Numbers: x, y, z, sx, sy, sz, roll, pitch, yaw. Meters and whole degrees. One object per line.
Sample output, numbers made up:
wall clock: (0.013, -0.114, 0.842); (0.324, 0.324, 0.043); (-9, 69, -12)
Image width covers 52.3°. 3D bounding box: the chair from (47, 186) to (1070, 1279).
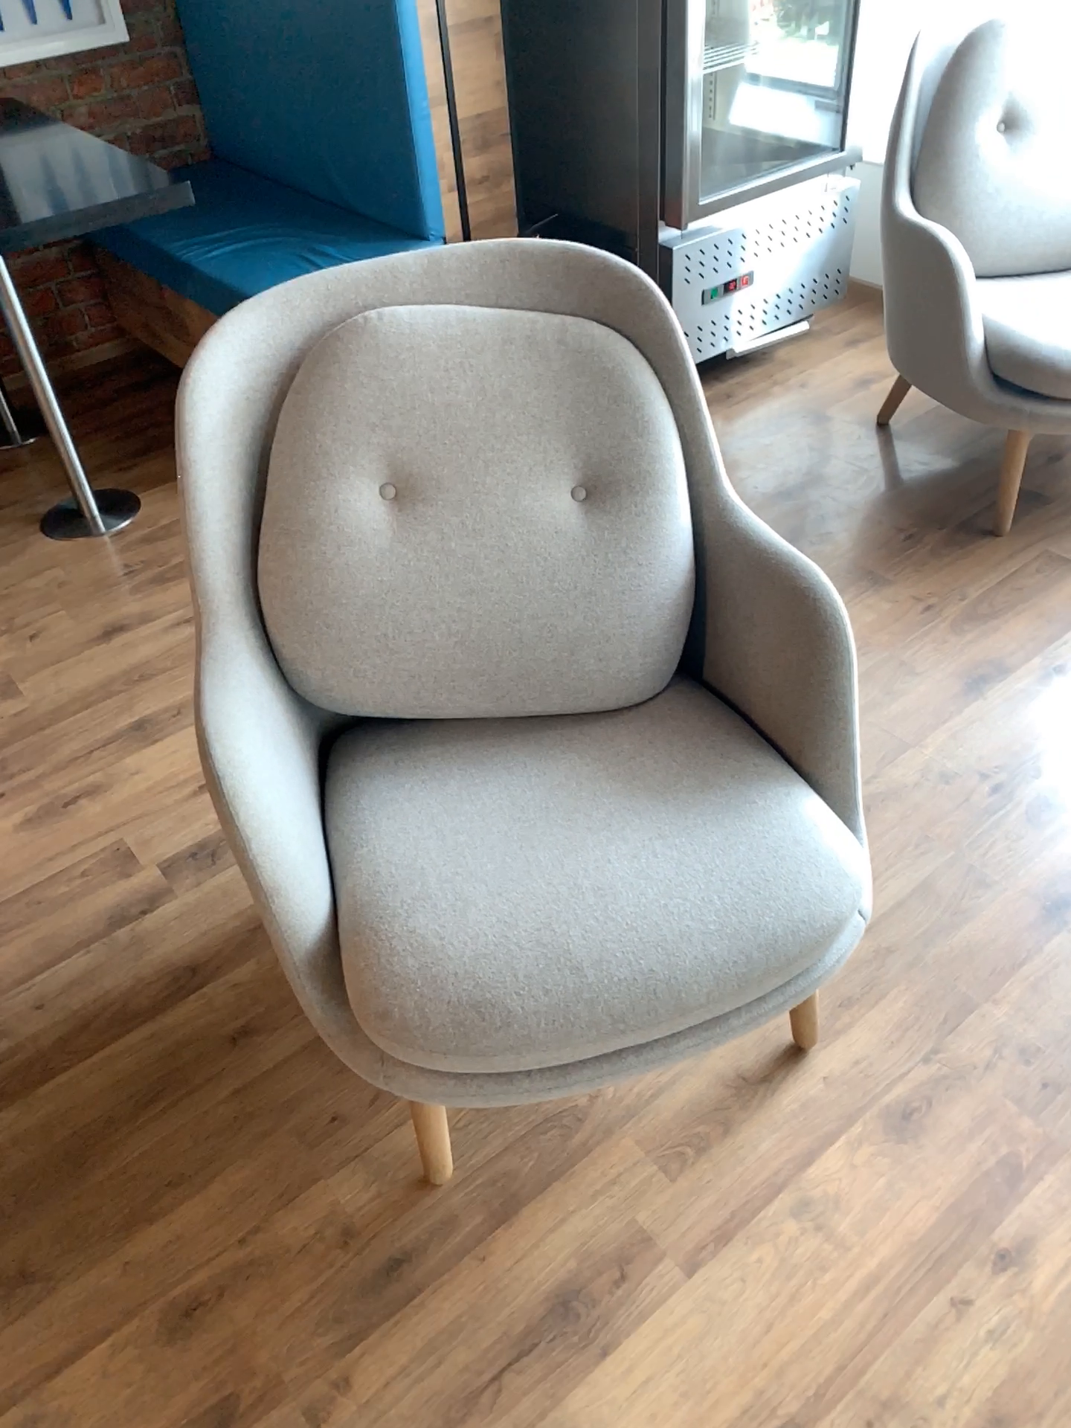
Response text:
chair: (-0.014, -0.025, 1.297); (0.751, 0.833, 0.746); (-19, 42, -15)
